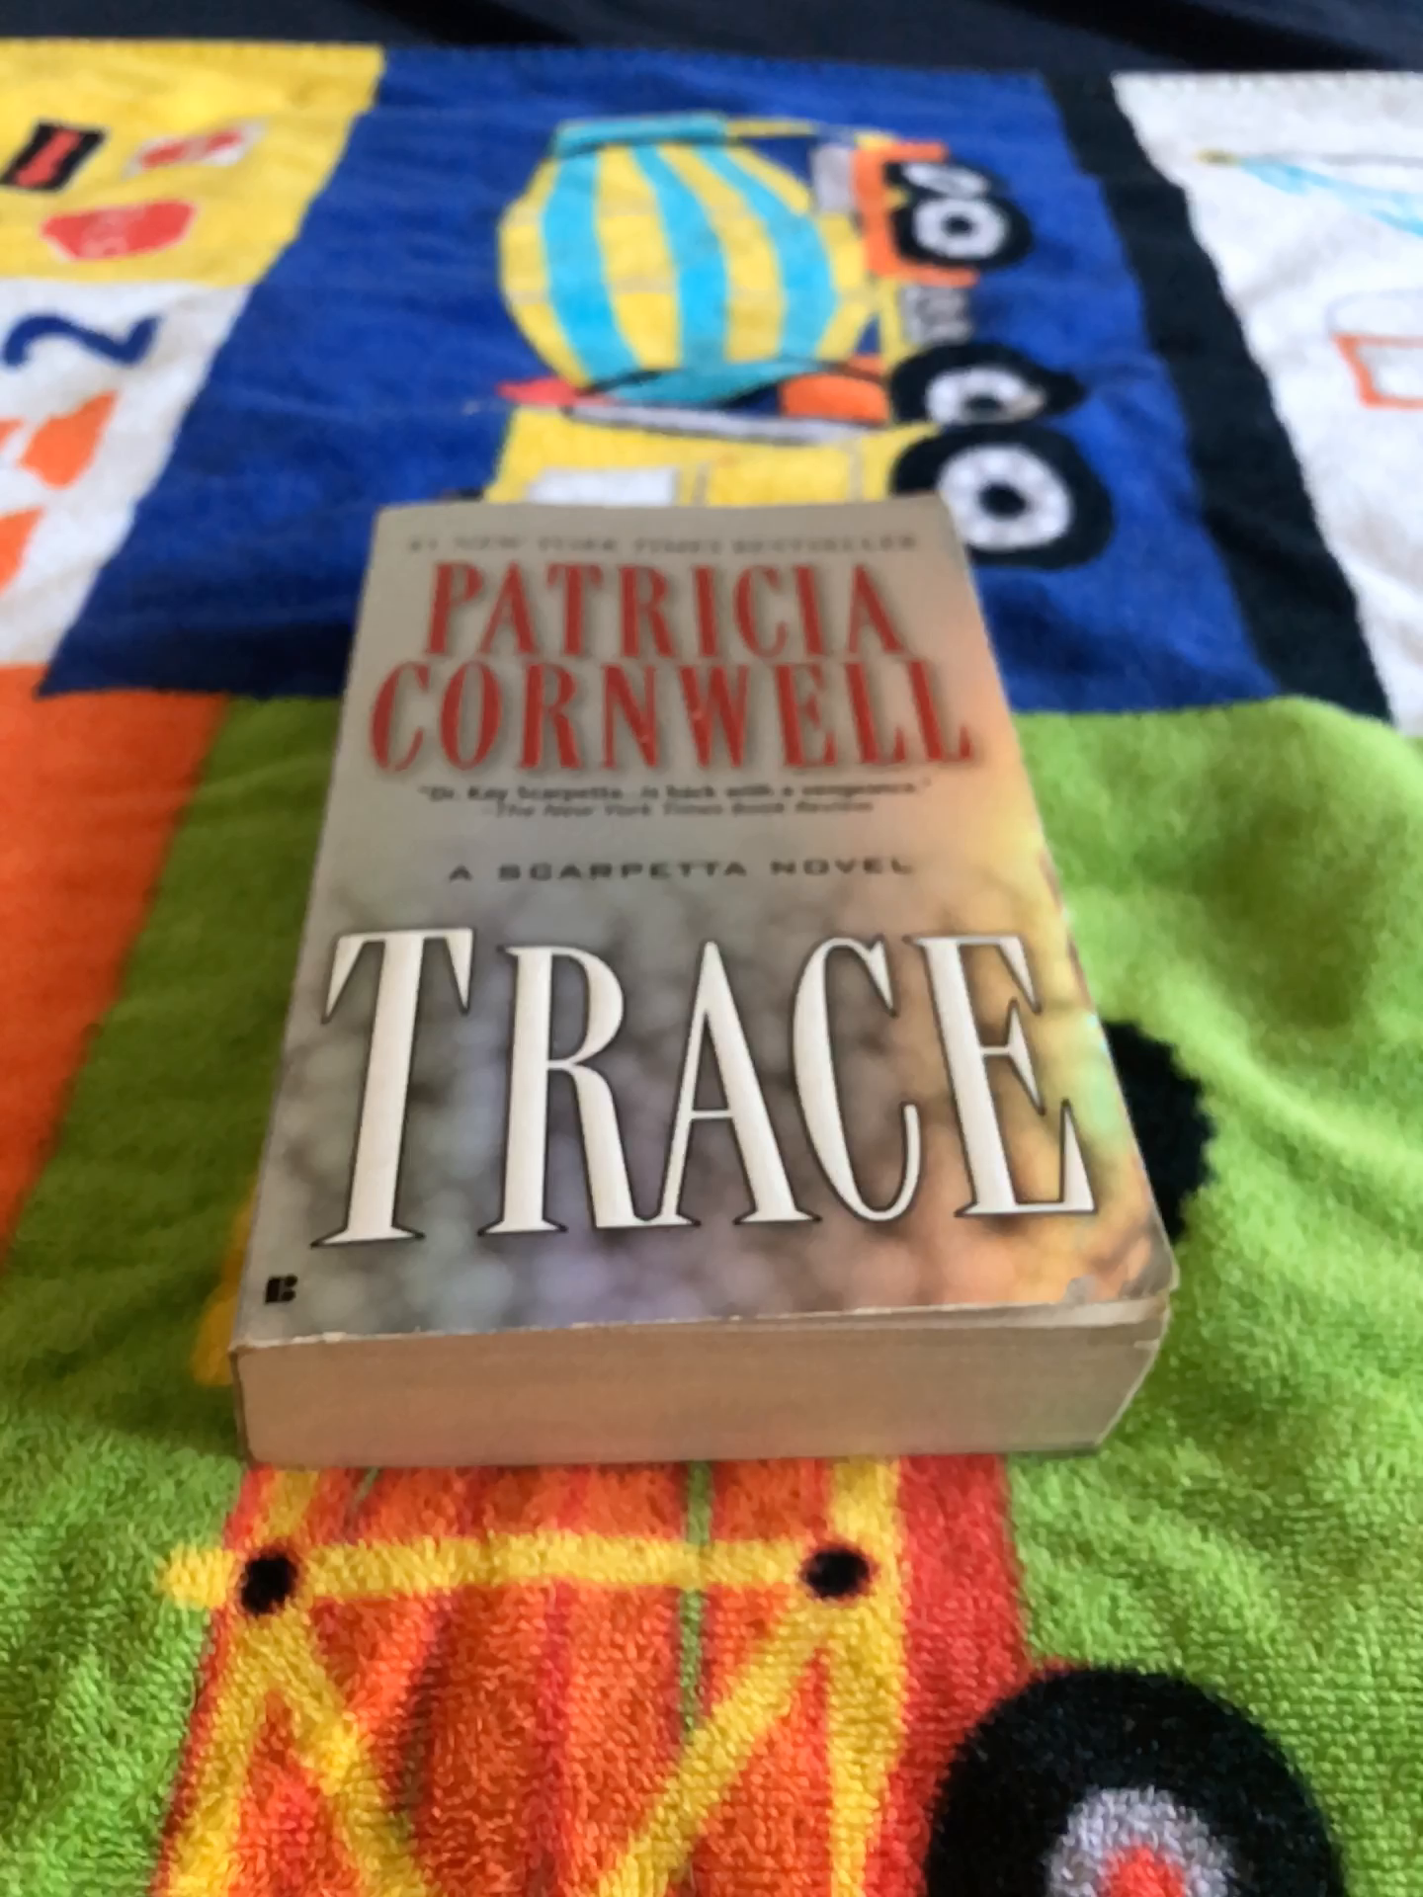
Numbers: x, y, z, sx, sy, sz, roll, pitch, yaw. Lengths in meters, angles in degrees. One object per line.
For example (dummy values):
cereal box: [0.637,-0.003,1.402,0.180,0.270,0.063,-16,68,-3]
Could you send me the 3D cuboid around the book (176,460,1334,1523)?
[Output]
book: [0.002,-0.010,0.244,0.120,0.040,0.181,-1,45,-1]
